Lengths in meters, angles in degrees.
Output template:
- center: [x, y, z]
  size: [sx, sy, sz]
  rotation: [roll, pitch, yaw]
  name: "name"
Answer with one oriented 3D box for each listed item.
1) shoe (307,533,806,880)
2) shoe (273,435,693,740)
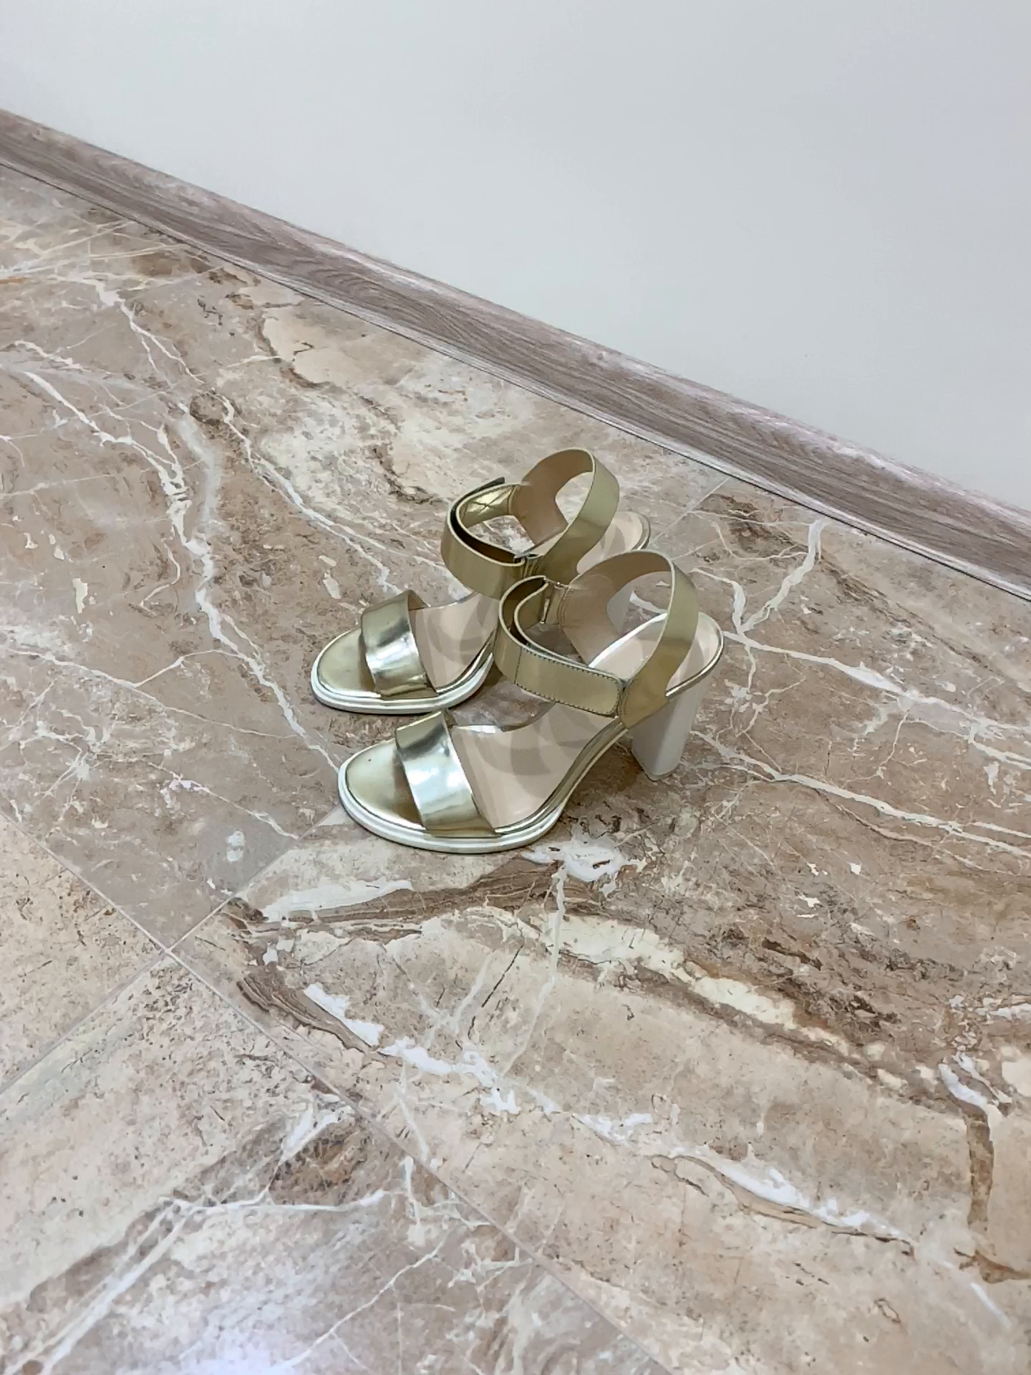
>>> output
- center: [0.014, 0.007, 0.566]
  size: [0.230, 0.119, 0.101]
  rotation: [-8, 45, -14]
  name: "shoe"
- center: [-0.024, -0.062, 0.637]
  size: [0.220, 0.129, 0.096]
  rotation: [-7, 45, -13]
  name: "shoe"
